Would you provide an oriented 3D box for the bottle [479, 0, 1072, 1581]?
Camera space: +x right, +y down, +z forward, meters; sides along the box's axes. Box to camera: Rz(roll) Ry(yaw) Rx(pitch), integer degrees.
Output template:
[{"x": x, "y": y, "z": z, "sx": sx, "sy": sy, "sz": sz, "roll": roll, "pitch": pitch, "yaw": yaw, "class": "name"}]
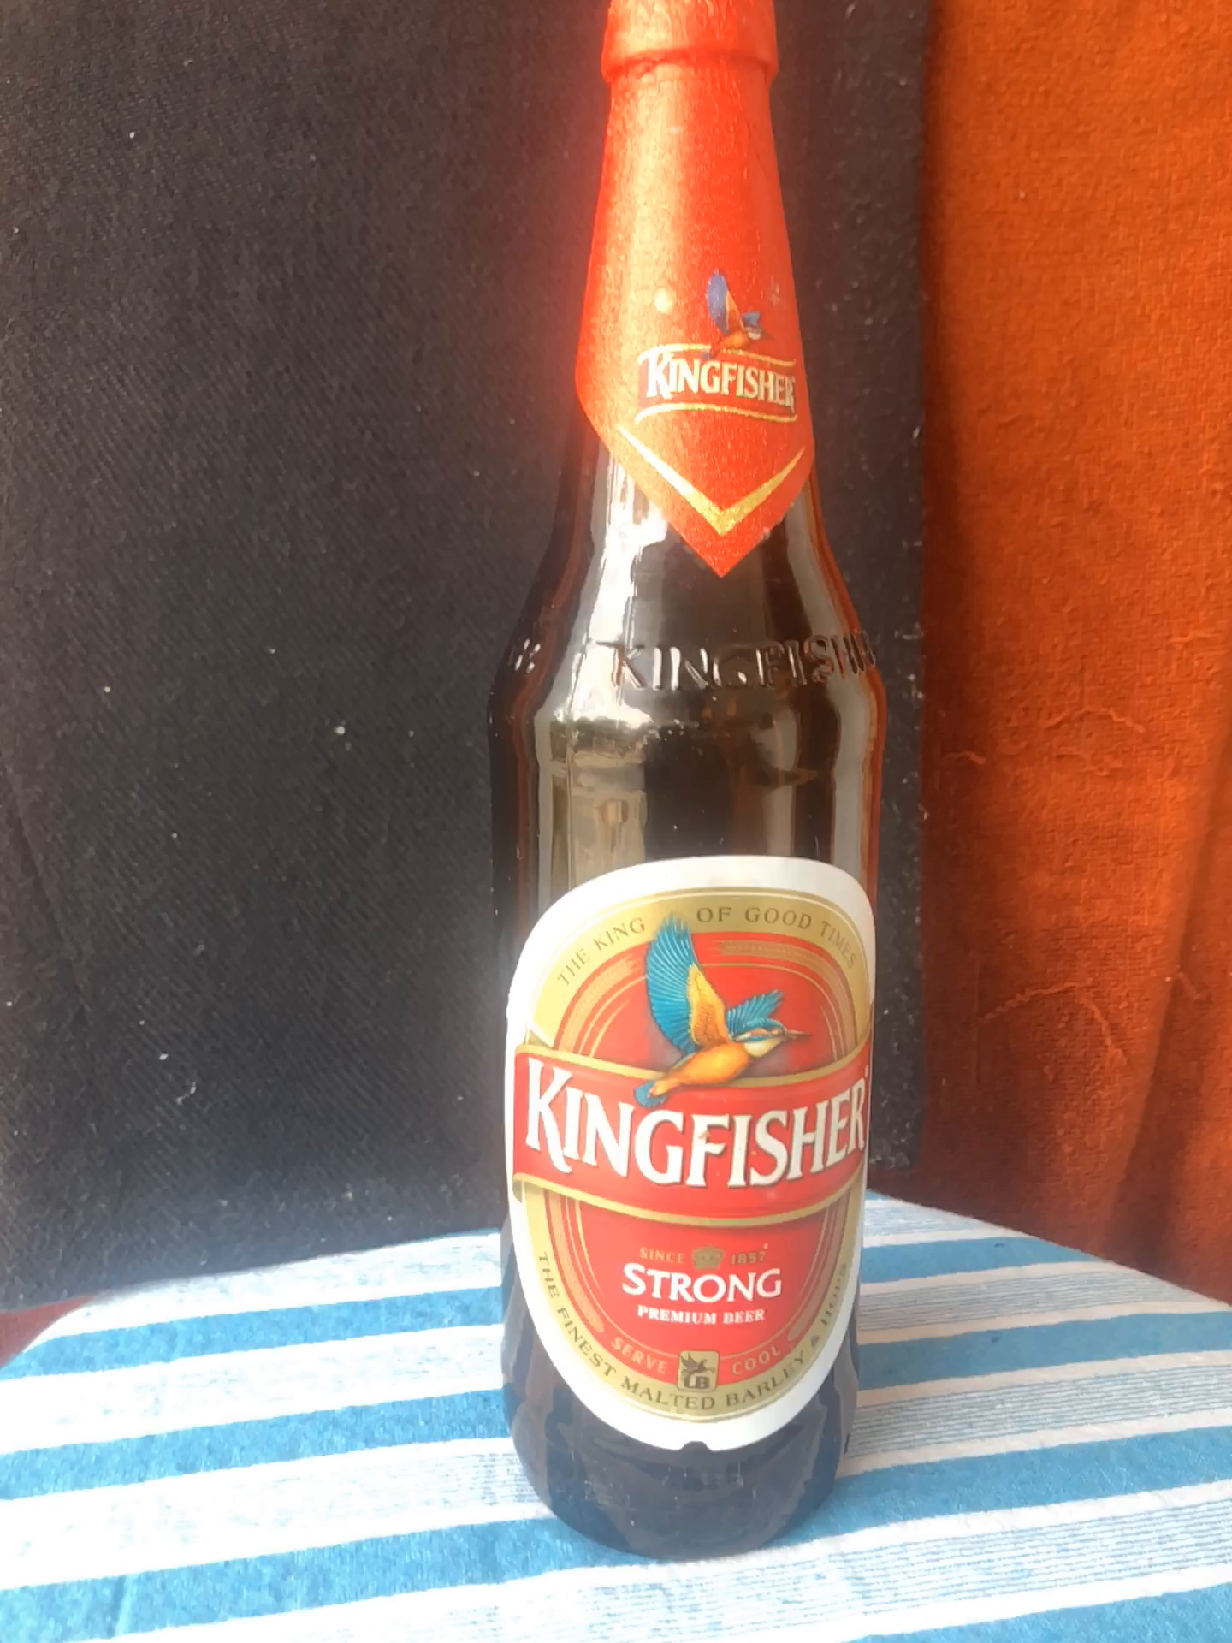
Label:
[{"x": 0.016, "y": -0.008, "z": 0.258, "sx": 0.080, "sy": 0.289, "sz": 0.070, "roll": 0, "pitch": 14, "yaw": -7, "class": "bottle"}]
